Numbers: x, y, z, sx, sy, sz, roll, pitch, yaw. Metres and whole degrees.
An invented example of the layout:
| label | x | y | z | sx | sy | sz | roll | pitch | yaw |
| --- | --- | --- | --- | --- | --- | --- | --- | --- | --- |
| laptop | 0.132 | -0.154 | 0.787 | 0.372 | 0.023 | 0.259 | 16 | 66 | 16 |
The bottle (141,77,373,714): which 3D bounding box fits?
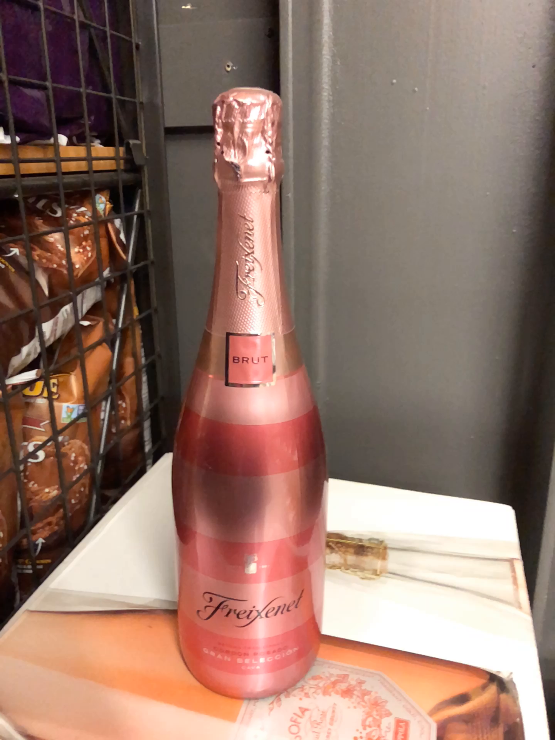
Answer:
| label | x | y | z | sx | sy | sz | roll | pitch | yaw |
| --- | --- | --- | --- | --- | --- | --- | --- | --- | --- |
| bottle | -0.010 | 0.020 | 0.327 | 0.090 | 0.309 | 0.090 | -1 | 18 | 0 |
